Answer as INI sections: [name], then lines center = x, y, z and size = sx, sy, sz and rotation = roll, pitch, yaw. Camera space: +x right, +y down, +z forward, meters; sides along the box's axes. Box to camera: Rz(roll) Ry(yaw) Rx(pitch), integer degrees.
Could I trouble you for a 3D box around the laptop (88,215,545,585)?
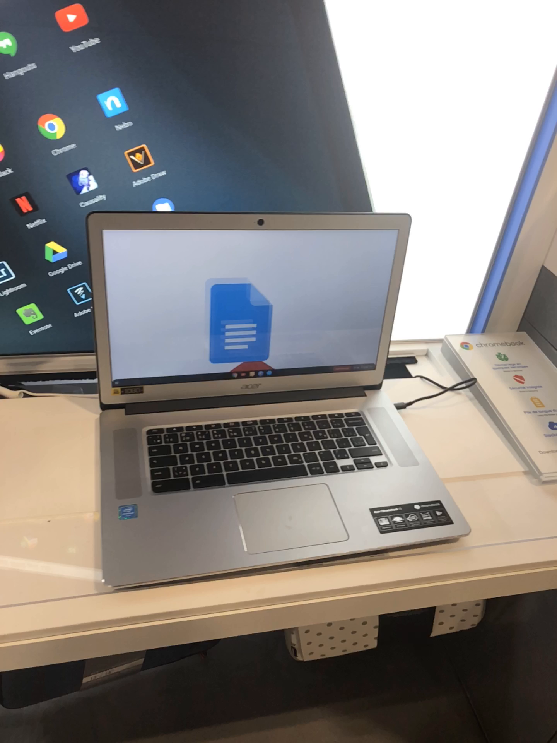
[laptop]
center = 0.001, 0.006, 0.655
size = 0.371, 0.242, 0.283
rotation = -3, 37, -16
